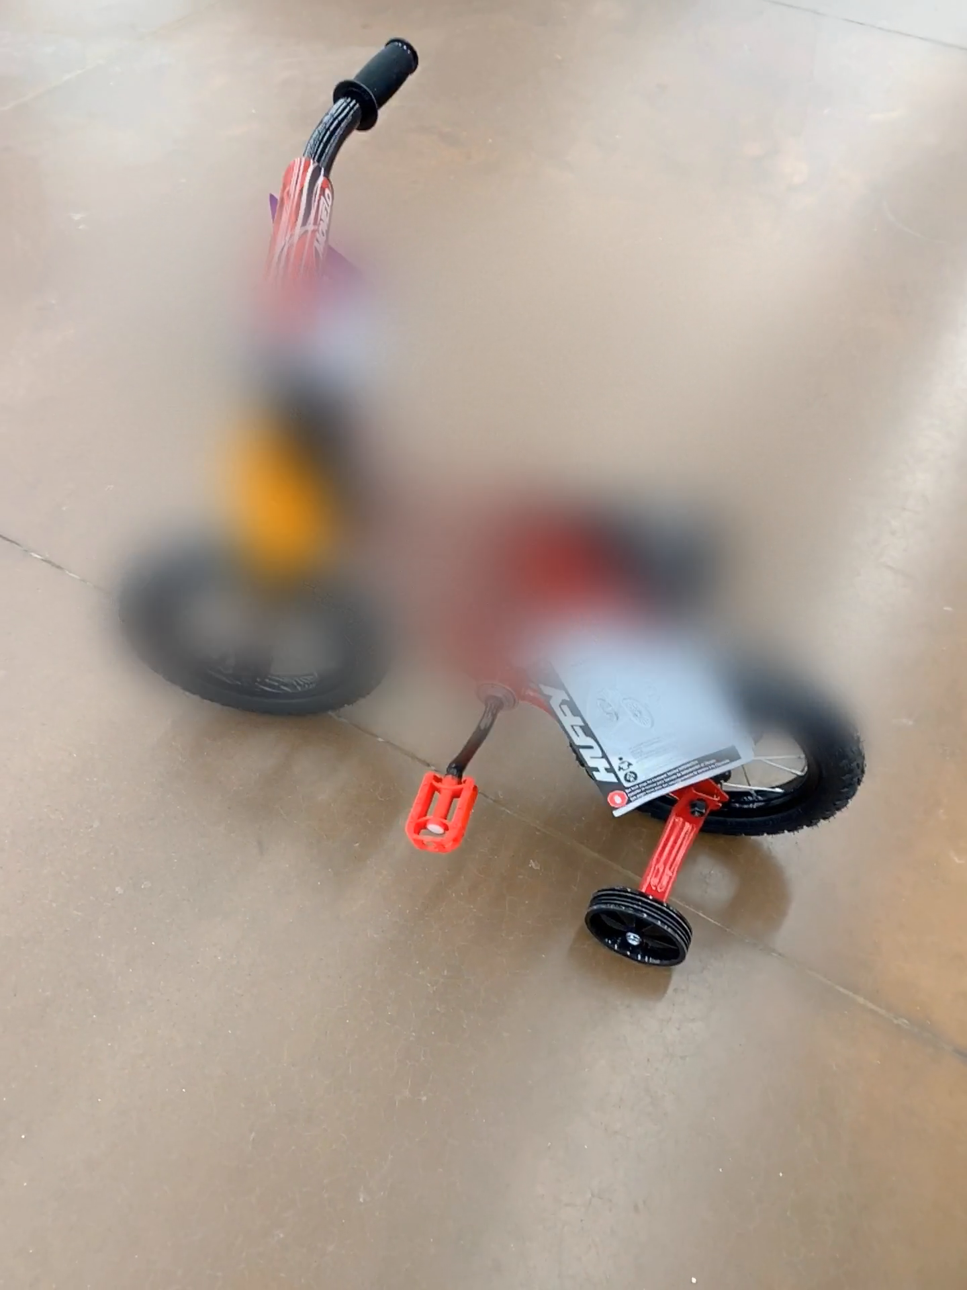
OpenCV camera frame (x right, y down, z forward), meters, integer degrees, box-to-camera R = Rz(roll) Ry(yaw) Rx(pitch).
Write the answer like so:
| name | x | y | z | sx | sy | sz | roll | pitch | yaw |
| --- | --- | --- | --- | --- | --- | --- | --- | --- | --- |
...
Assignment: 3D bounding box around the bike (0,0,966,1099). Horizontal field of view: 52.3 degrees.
| name | x | y | z | sx | sy | sz | roll | pitch | yaw |
| --- | --- | --- | --- | --- | --- | --- | --- | --- | --- |
| bike | -0.001 | -0.054 | 0.761 | 0.704 | 0.626 | 0.459 | 14 | 52 | 3 |
